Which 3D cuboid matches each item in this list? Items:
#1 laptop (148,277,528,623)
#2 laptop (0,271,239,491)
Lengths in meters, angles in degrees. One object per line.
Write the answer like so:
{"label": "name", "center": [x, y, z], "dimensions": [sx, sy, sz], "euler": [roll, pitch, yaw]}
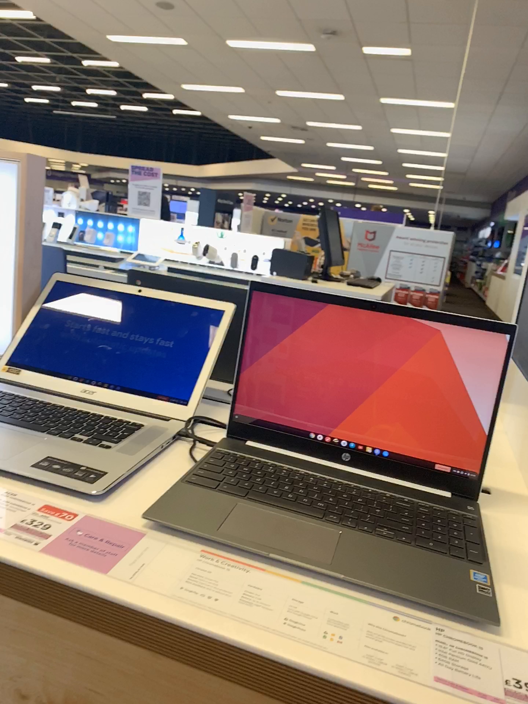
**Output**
{"label": "laptop", "center": [0.097, 0.068, 0.639], "dimensions": [0.358, 0.234, 0.268], "euler": [12, 13, 14]}
{"label": "laptop", "center": [-0.293, -0.001, 0.844], "dimensions": [0.376, 0.175, 0.426], "euler": [11, 13, 13]}
